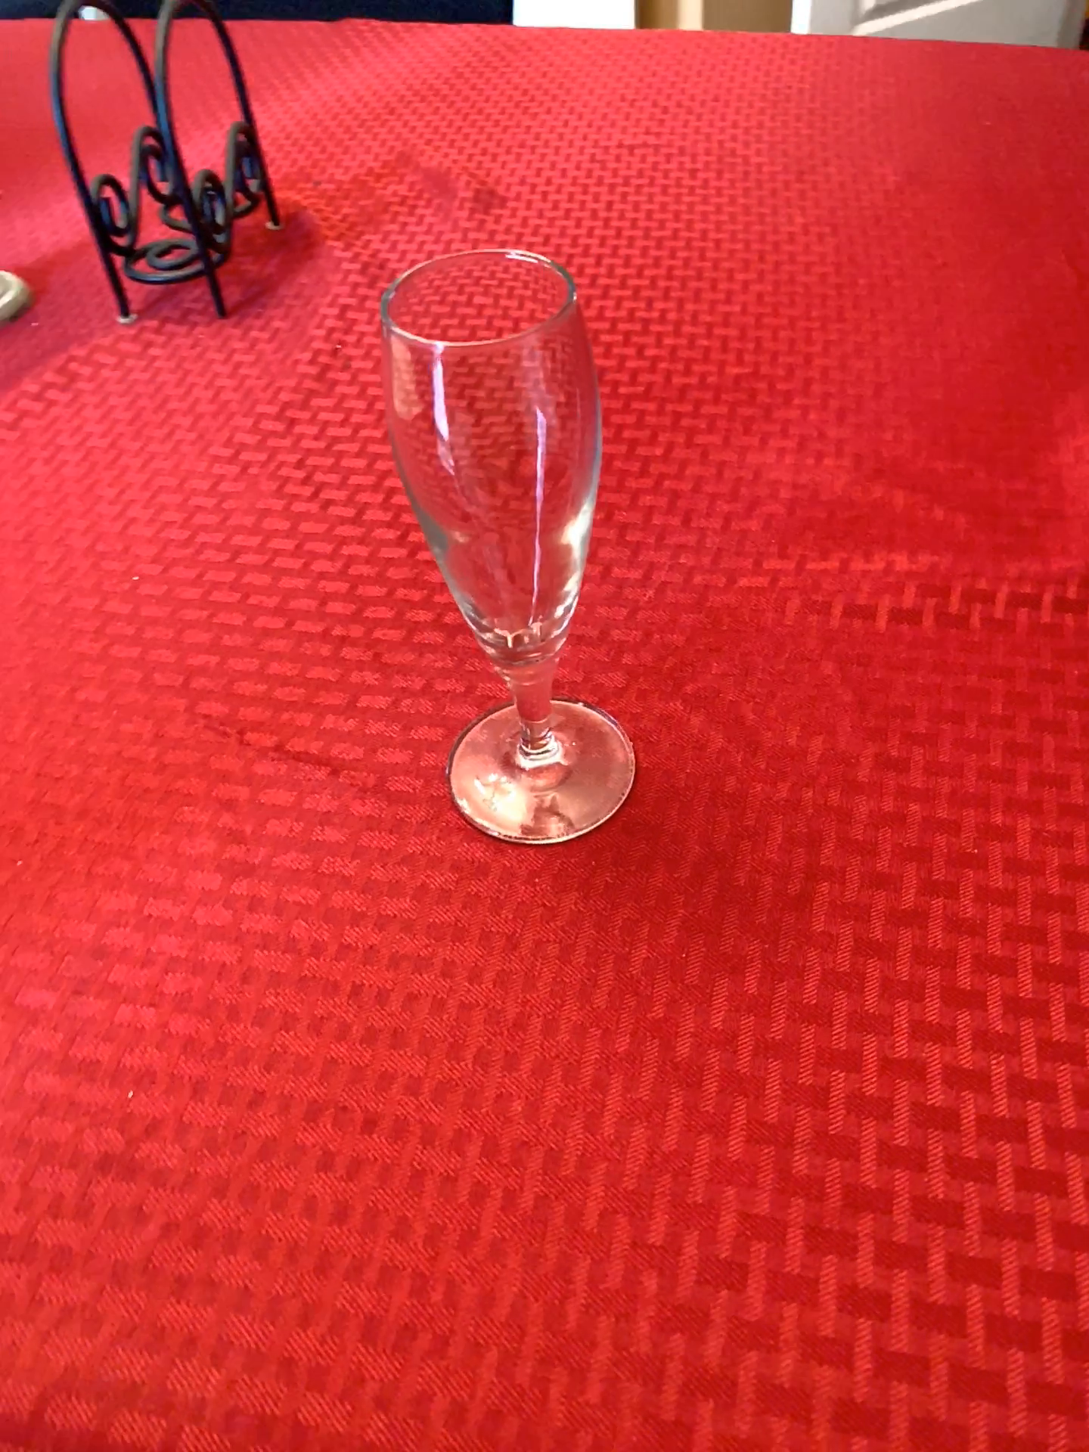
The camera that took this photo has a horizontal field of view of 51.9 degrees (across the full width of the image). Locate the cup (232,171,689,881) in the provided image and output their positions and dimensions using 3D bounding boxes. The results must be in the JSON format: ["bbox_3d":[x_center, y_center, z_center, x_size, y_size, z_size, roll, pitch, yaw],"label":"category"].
[{"bbox_3d":[-0.011,-0.048,0.324,0.080,0.179,0.080,-3,48,3],"label":"cup"}]
